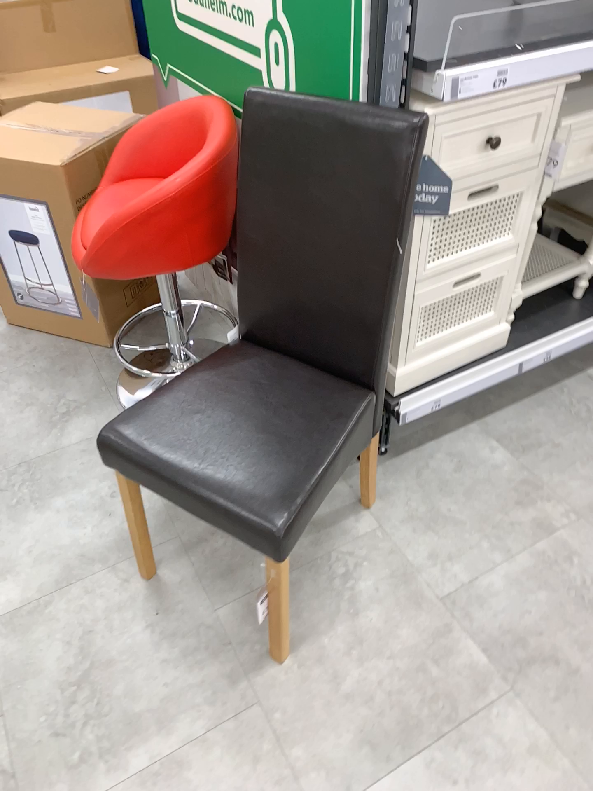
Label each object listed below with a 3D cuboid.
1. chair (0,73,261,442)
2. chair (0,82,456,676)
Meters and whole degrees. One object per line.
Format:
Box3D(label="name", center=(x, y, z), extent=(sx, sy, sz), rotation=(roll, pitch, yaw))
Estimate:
Box3D(label="chair", center=(-0.385, -0.344, 1.579), extent=(0.456, 0.774, 0.429), rotation=(-11, 42, -10))
Box3D(label="chair", center=(-0.067, -0.015, 1.169), extent=(0.427, 0.912, 0.559), rotation=(22, 47, 25))
